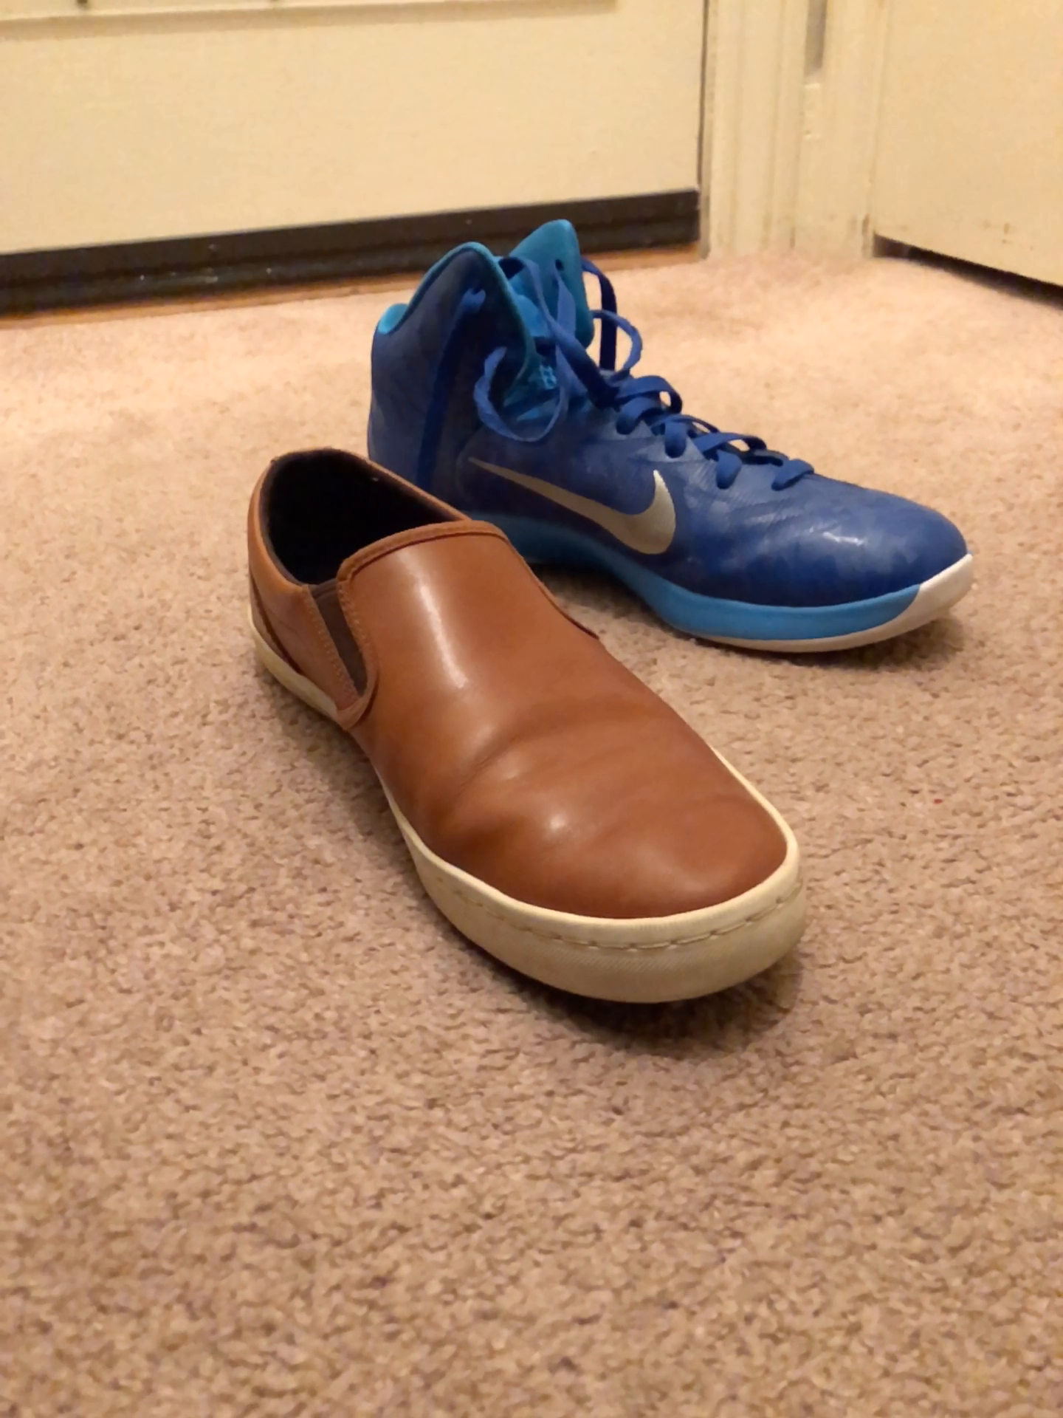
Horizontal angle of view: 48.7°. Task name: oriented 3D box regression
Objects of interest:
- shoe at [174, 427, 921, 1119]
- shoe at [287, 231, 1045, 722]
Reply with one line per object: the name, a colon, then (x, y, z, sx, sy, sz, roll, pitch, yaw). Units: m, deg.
shoe: (-0.020, -0.010, 0.396, 0.105, 0.083, 0.283, -19, 34, -26)
shoe: (0.049, -0.119, 0.523, 0.292, 0.142, 0.116, 17, 35, 29)
